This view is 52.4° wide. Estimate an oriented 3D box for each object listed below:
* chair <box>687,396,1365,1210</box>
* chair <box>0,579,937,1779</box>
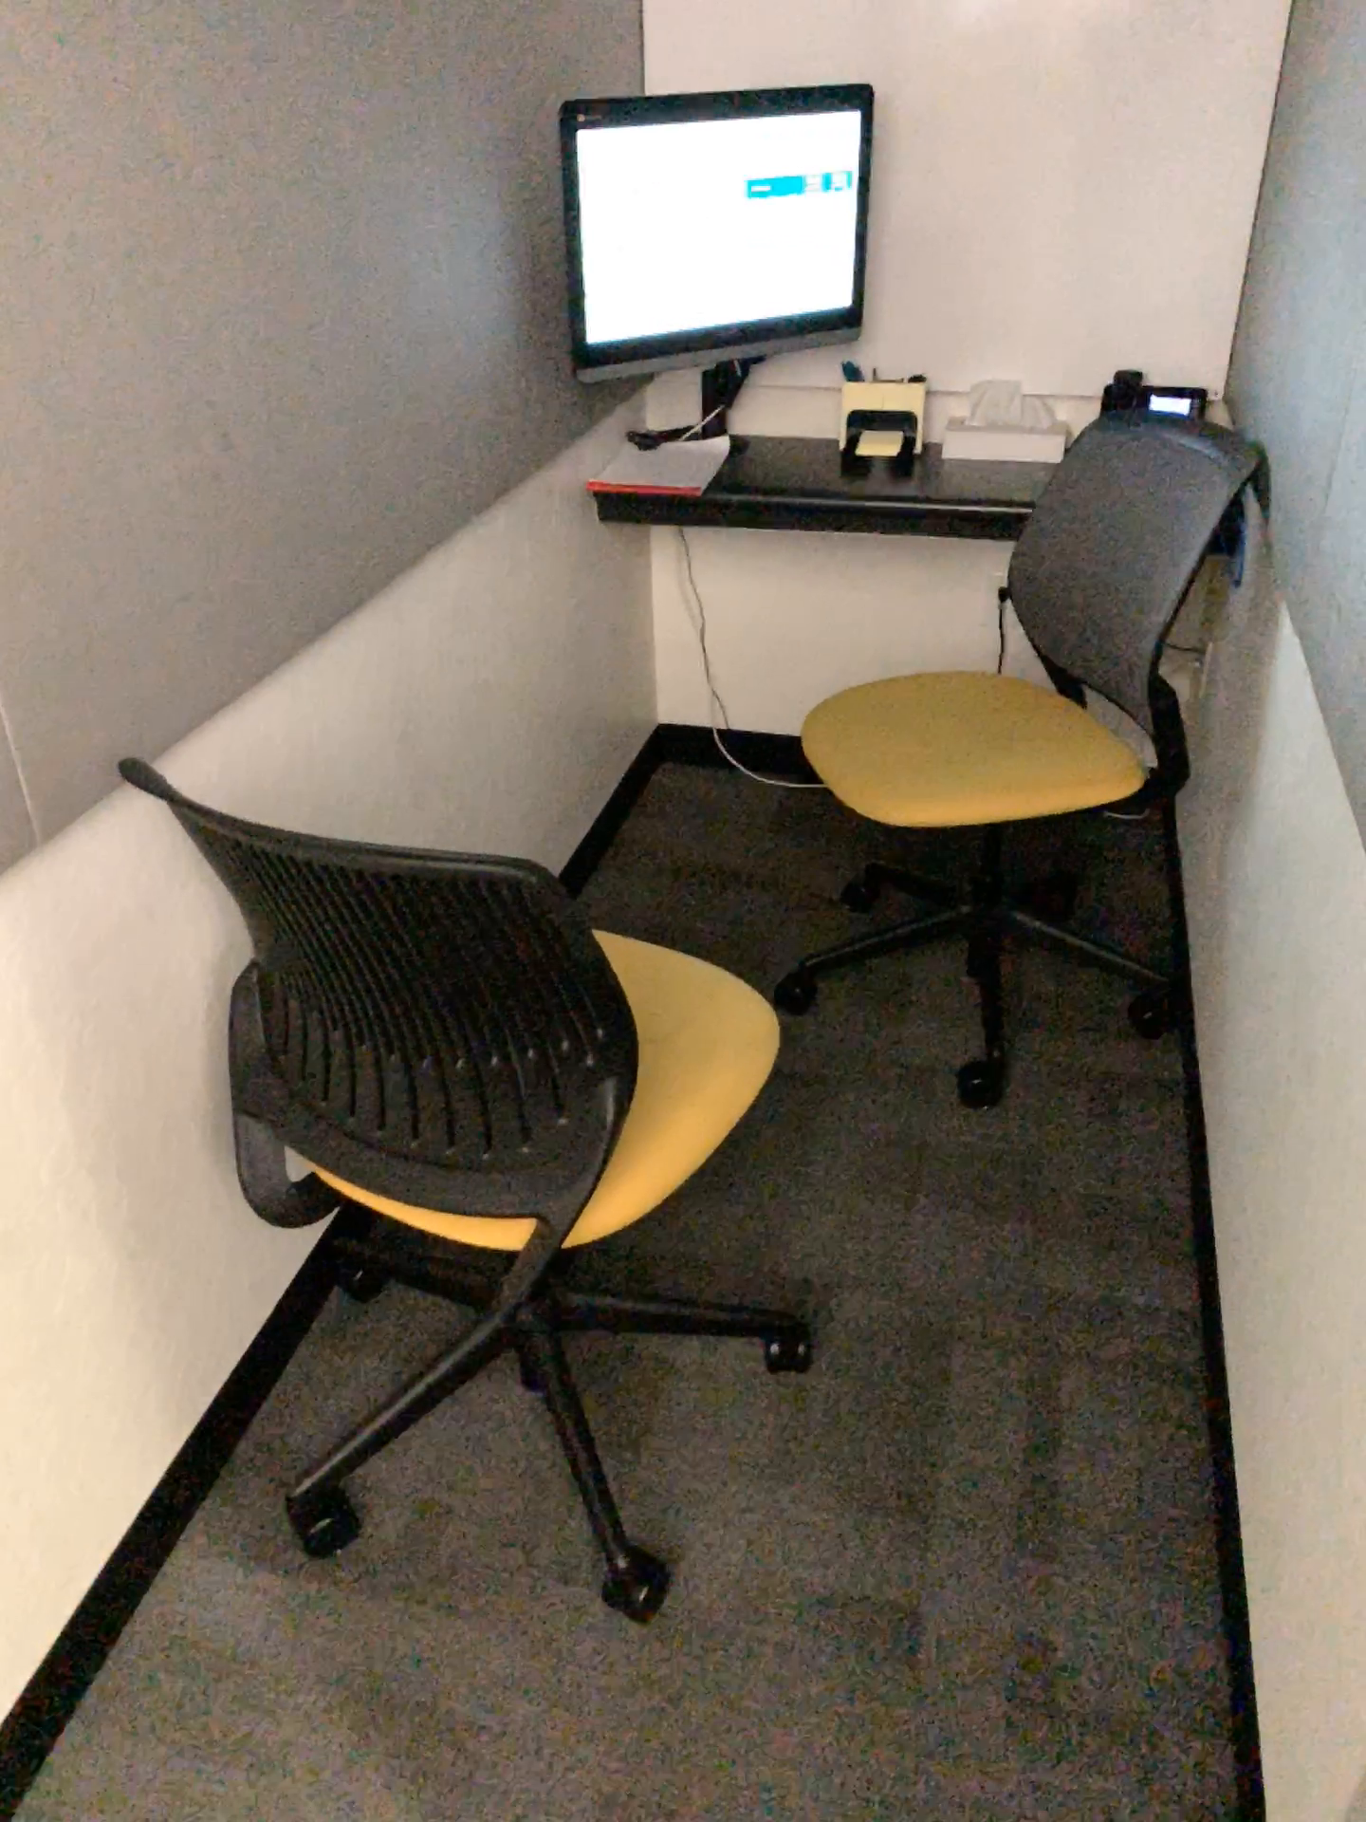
[{"bbox_3d":[0.626,-0.268,2.547,0.950,1.034,0.925,-13,34,-18],"label":"chair"},{"bbox_3d":[-0.156,0.215,1.355,0.551,0.845,0.572,17,36,27],"label":"chair"}]
